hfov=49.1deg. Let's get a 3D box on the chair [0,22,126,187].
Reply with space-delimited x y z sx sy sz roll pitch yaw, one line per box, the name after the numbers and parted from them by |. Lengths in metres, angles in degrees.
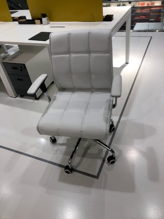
-0.035 -0.038 1.362 0.661 0.922 0.725 3 42 14 | chair
